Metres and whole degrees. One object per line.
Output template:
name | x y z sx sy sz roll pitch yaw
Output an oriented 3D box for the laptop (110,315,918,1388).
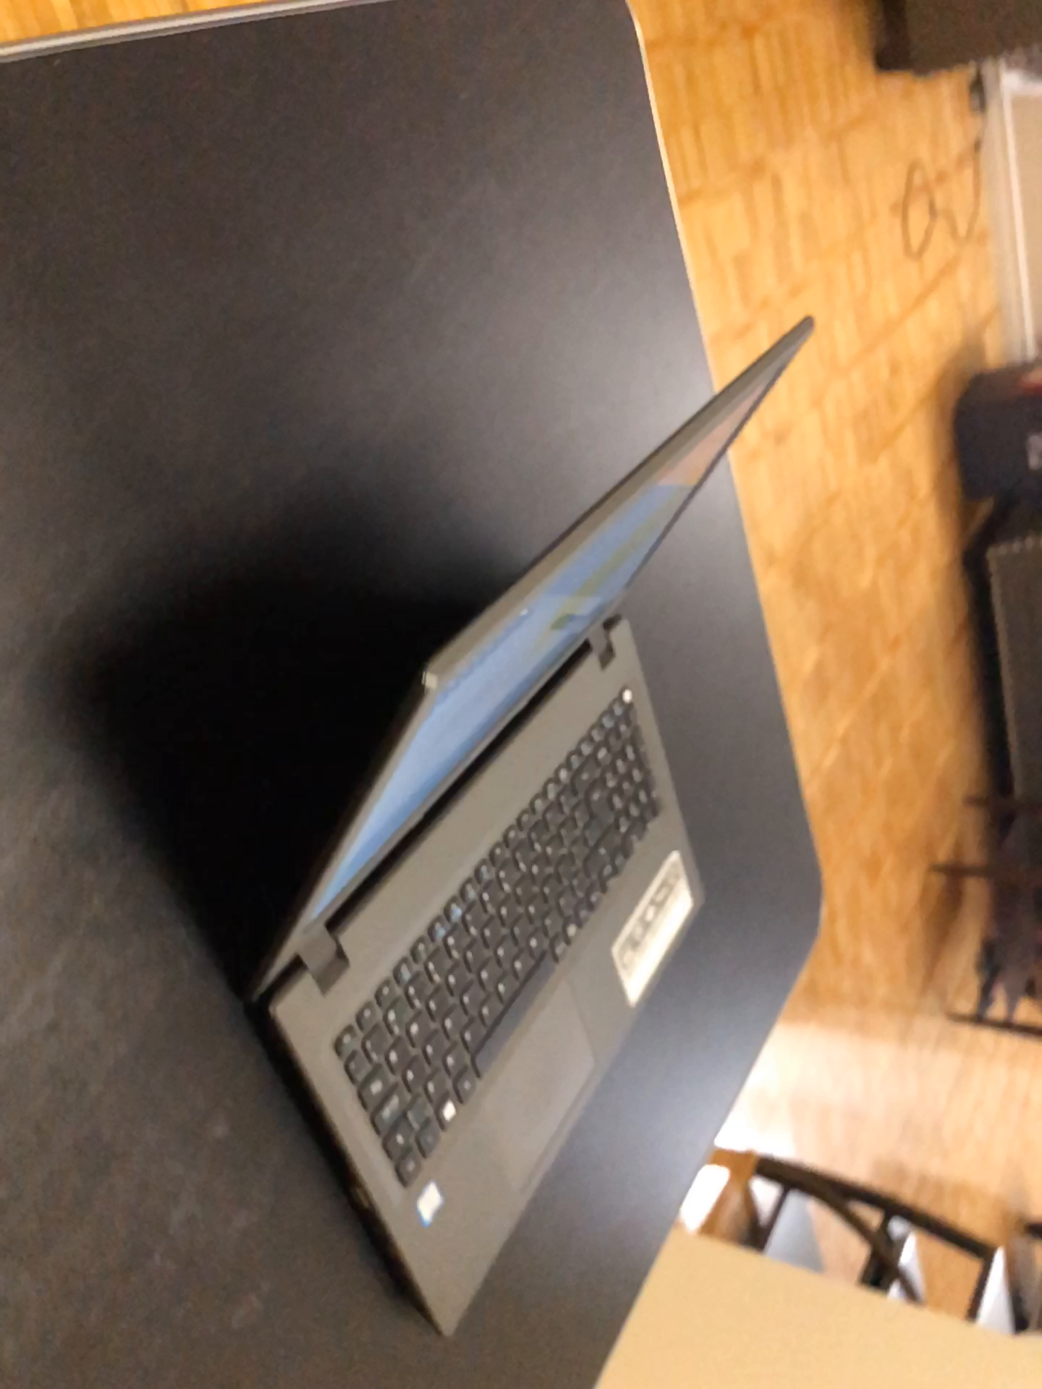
laptop | 0.057 0.080 0.632 0.376 0.161 0.430 -46 127 -43
